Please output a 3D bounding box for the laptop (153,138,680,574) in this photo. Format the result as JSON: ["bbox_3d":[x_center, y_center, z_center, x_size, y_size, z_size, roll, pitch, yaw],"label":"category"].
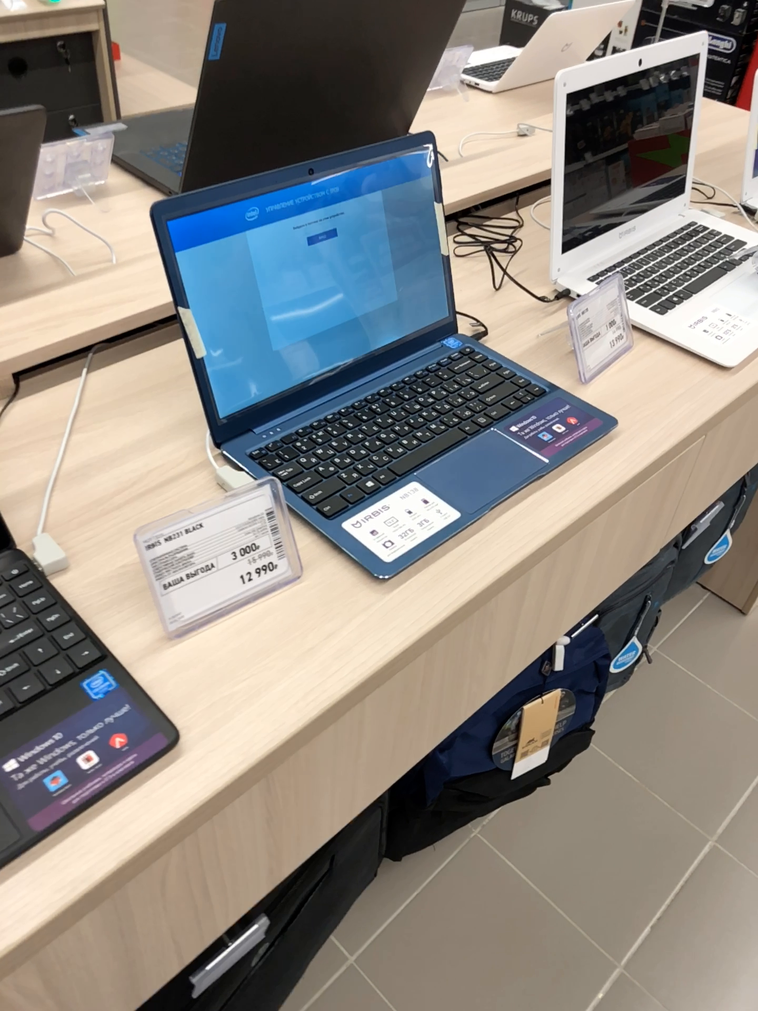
[{"bbox_3d":[0.029,-0.152,0.708,0.310,0.185,0.271,-30,53,-34],"label":"laptop"}]

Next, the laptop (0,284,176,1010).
[{"bbox_3d":[-0.339,0.055,0.436,0.328,0.155,0.301,35,48,29],"label":"laptop"}]

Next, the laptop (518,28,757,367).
[{"bbox_3d":[0.387,-0.374,0.963,0.289,0.217,0.311,35,50,28],"label":"laptop"}]
